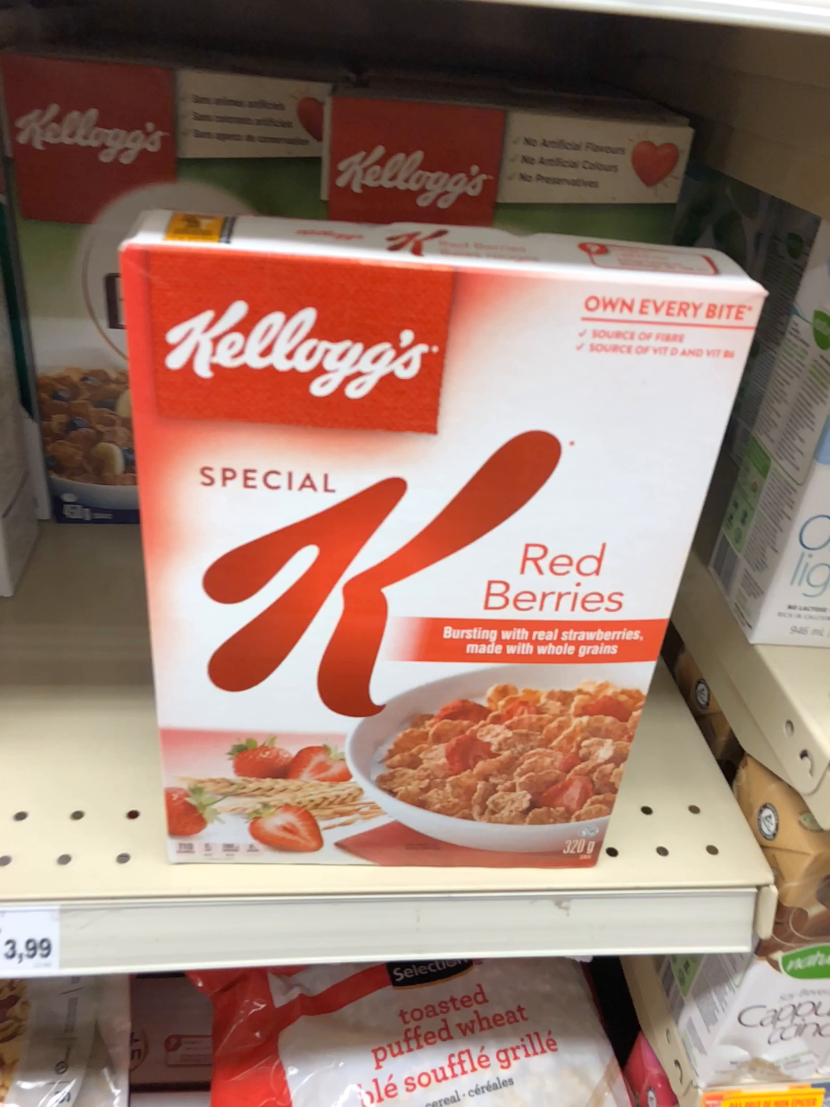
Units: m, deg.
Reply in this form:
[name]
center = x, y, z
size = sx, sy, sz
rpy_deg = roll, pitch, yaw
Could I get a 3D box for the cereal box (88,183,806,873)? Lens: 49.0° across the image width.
[cereal box]
center = -0.001, 0.013, 0.365
size = 0.210, 0.278, 0.061
rpy_deg = 2, 34, -6
